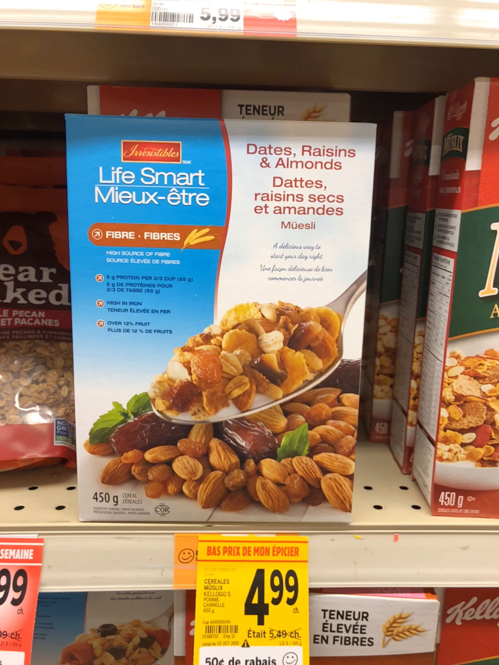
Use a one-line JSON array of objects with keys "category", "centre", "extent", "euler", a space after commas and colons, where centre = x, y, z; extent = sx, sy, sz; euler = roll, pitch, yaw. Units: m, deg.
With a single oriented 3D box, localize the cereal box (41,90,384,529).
[{"category": "cereal box", "centre": [-0.021, -0.007, 0.326], "extent": [0.170, 0.239, 0.050], "euler": [1, 13, -1]}]
